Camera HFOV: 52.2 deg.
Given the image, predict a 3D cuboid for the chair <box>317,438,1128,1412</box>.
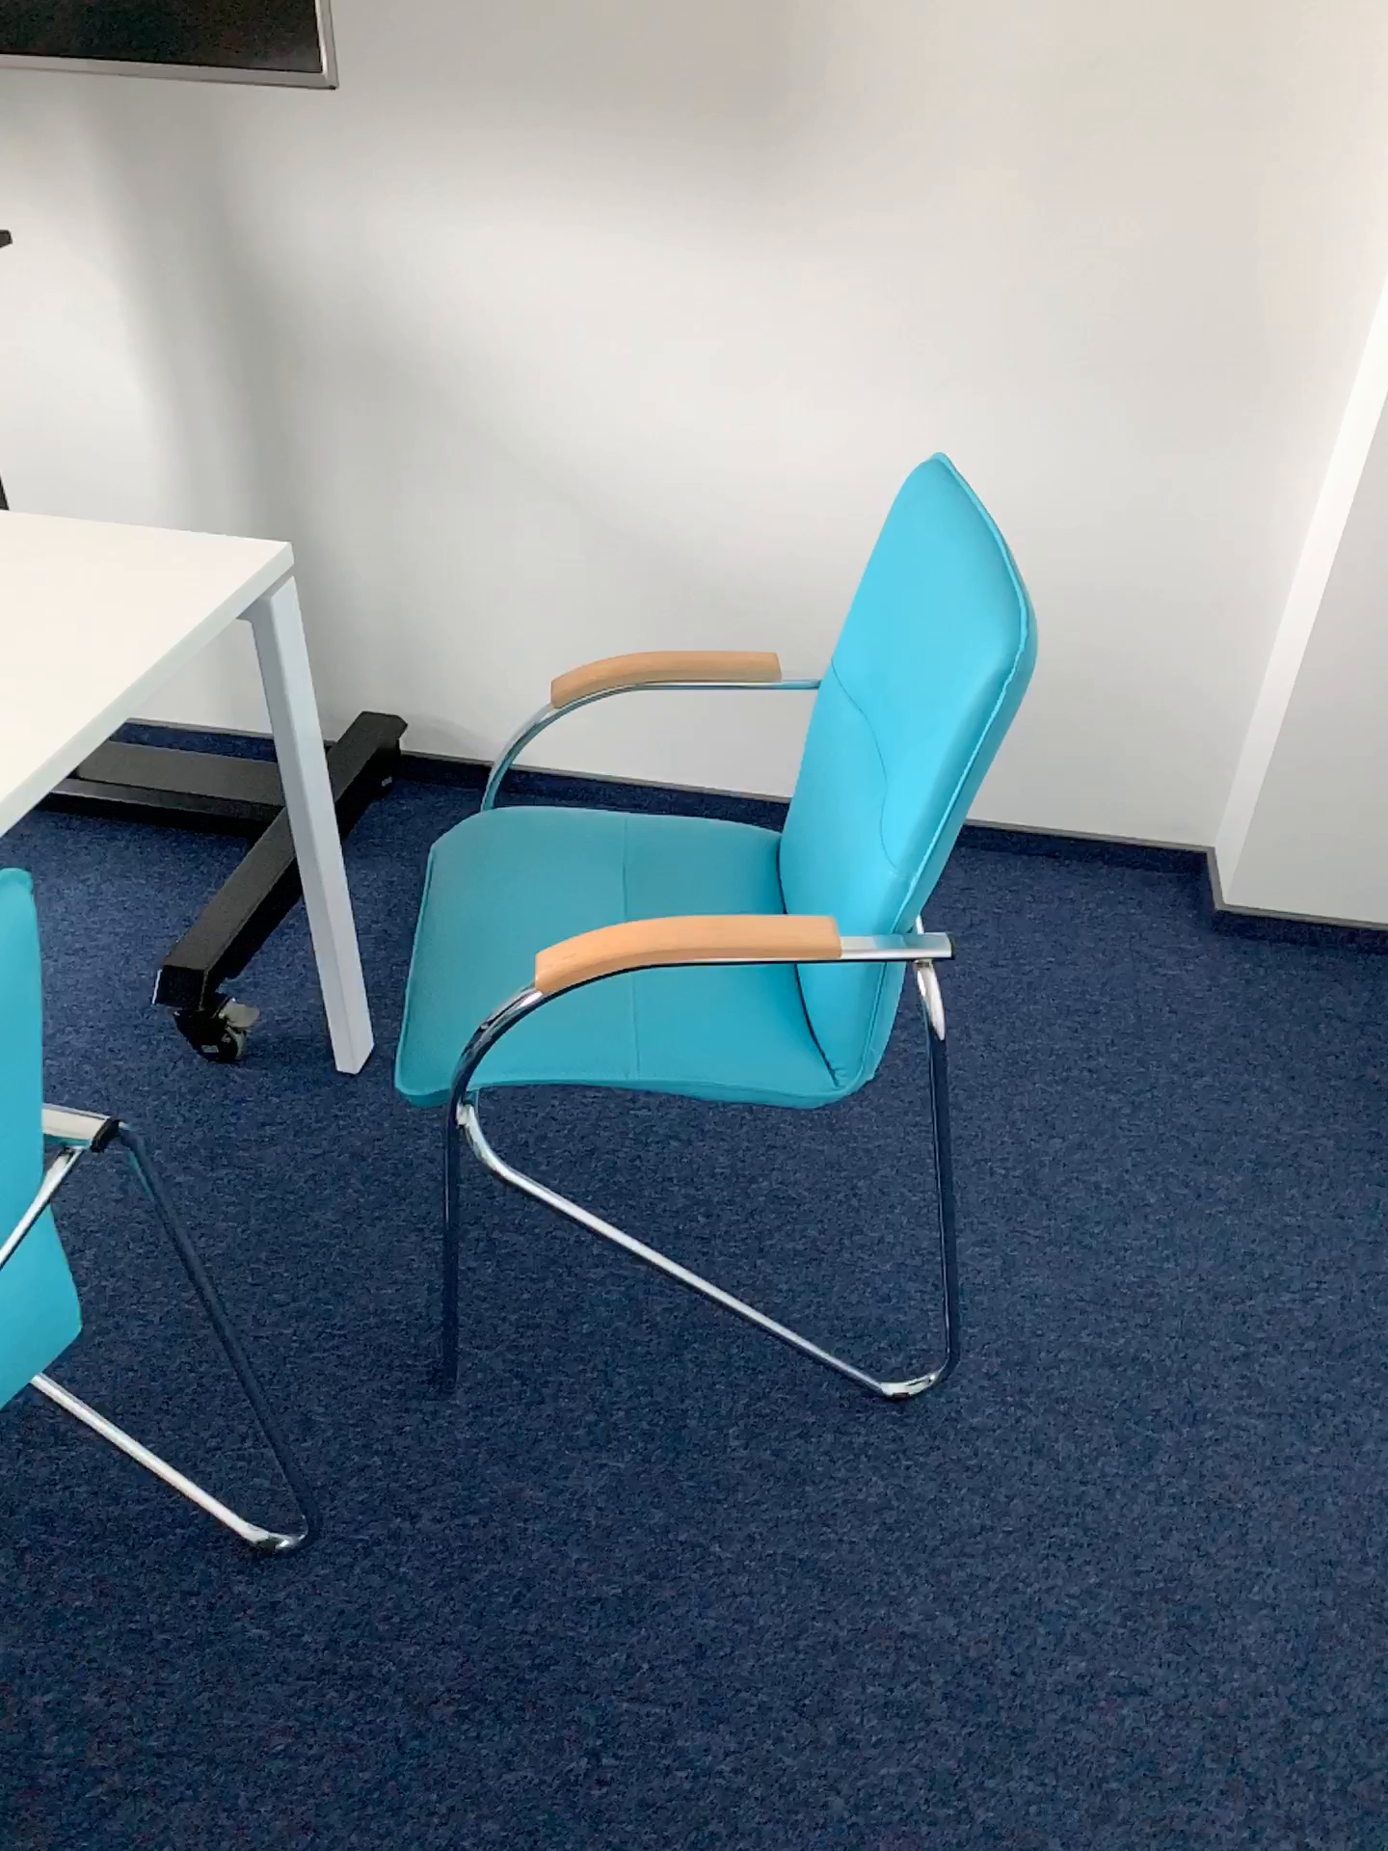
[{"bbox_3d":[-0.002,0.001,1.547,0.600,0.845,0.624,0,37,-3],"label":"chair"}]
